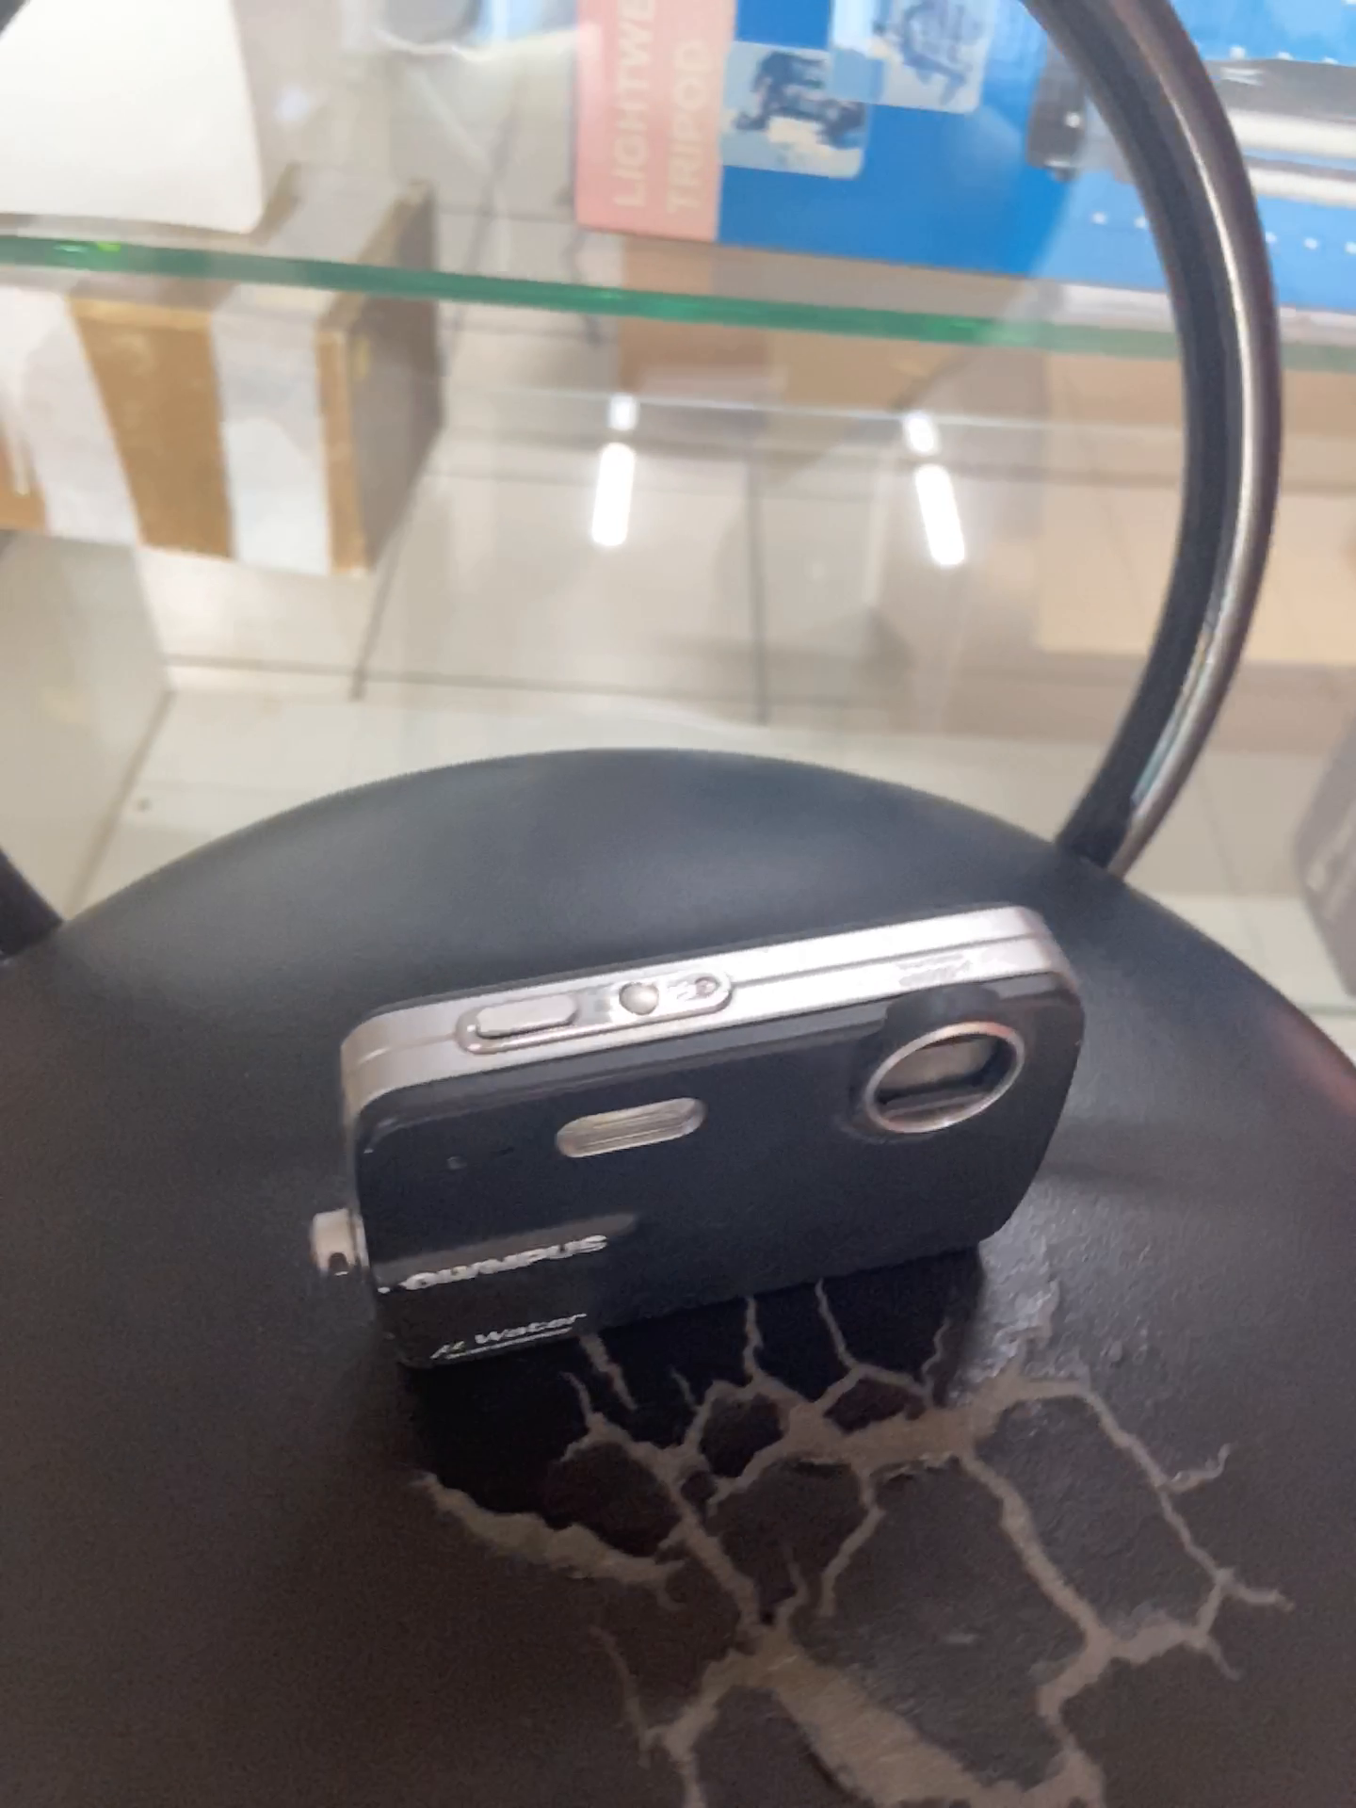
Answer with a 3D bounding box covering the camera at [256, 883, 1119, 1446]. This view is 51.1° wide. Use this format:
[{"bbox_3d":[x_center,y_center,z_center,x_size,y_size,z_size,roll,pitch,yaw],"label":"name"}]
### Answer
[{"bbox_3d":[0.000,0.035,0.192,0.100,0.060,0.030,-8,46,-13],"label":"camera"}]
